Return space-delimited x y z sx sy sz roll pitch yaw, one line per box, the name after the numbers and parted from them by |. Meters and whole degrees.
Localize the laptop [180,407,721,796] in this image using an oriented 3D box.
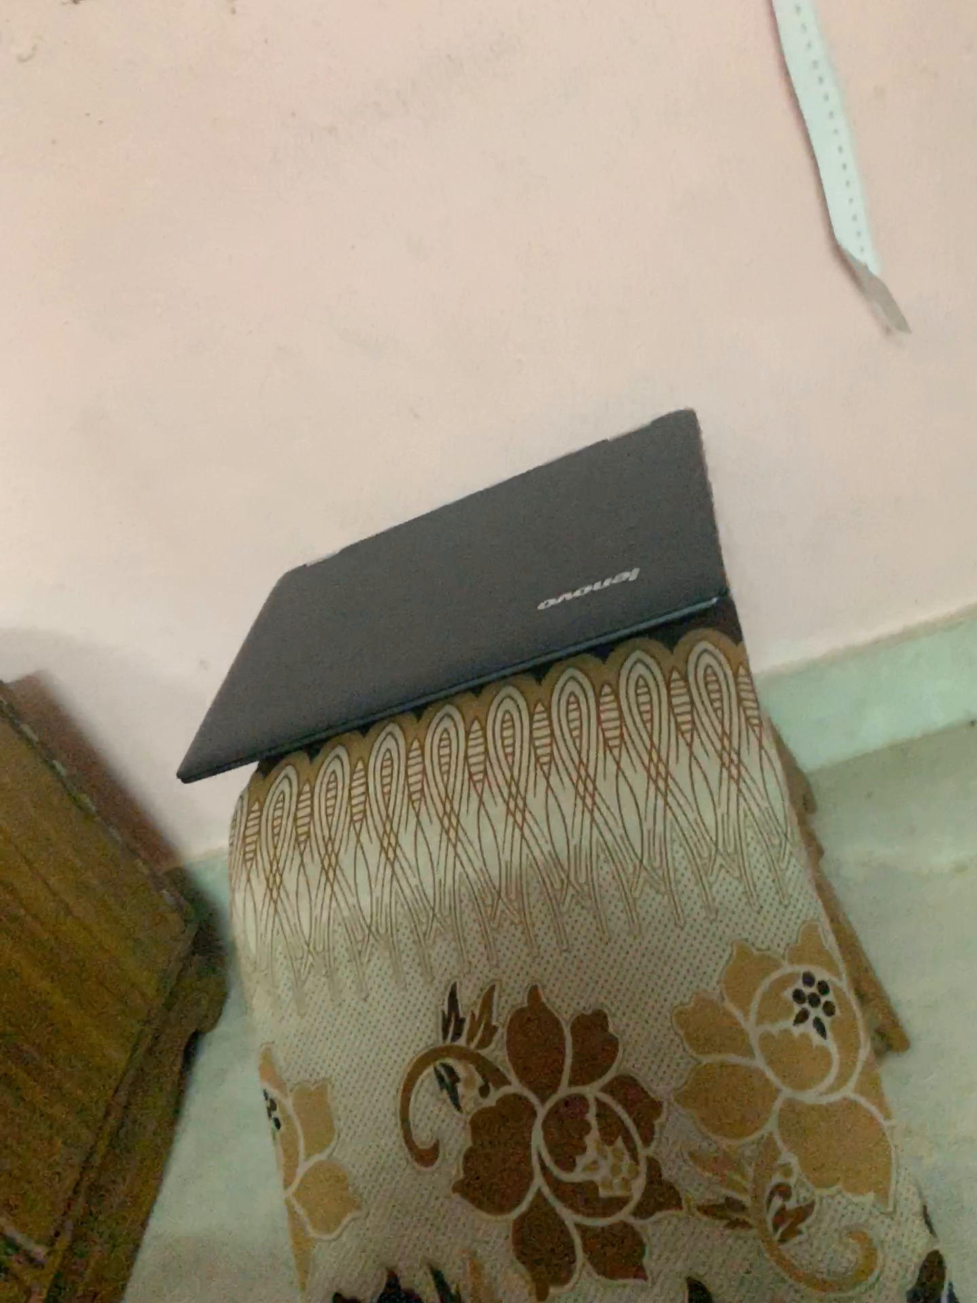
-0.022 -0.036 0.601 0.312 0.012 0.214 -20 32 19 | laptop
